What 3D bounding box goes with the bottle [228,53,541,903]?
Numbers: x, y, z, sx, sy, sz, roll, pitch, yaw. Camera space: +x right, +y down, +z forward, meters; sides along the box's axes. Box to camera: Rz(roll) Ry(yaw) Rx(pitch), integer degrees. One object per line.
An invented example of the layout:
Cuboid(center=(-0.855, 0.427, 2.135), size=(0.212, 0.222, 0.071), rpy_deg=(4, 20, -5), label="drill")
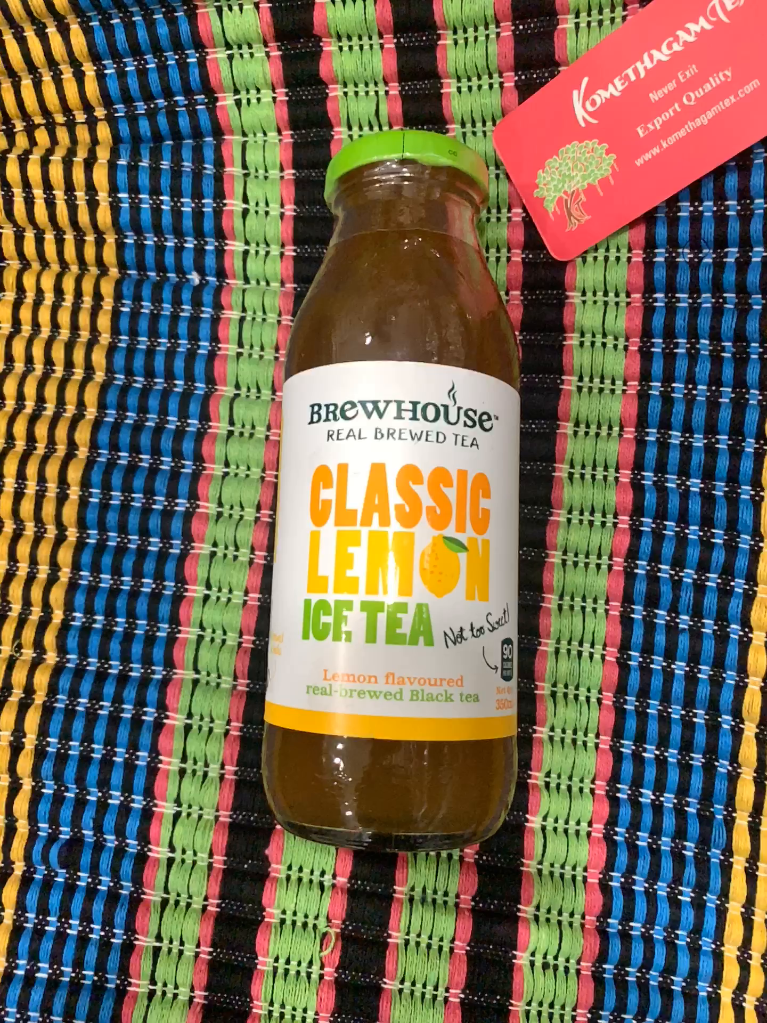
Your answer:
Cuboid(center=(0.003, -0.011, 0.192), size=(0.060, 0.050, 0.180), rpy_deg=(1, 81, 2), label="bottle")
